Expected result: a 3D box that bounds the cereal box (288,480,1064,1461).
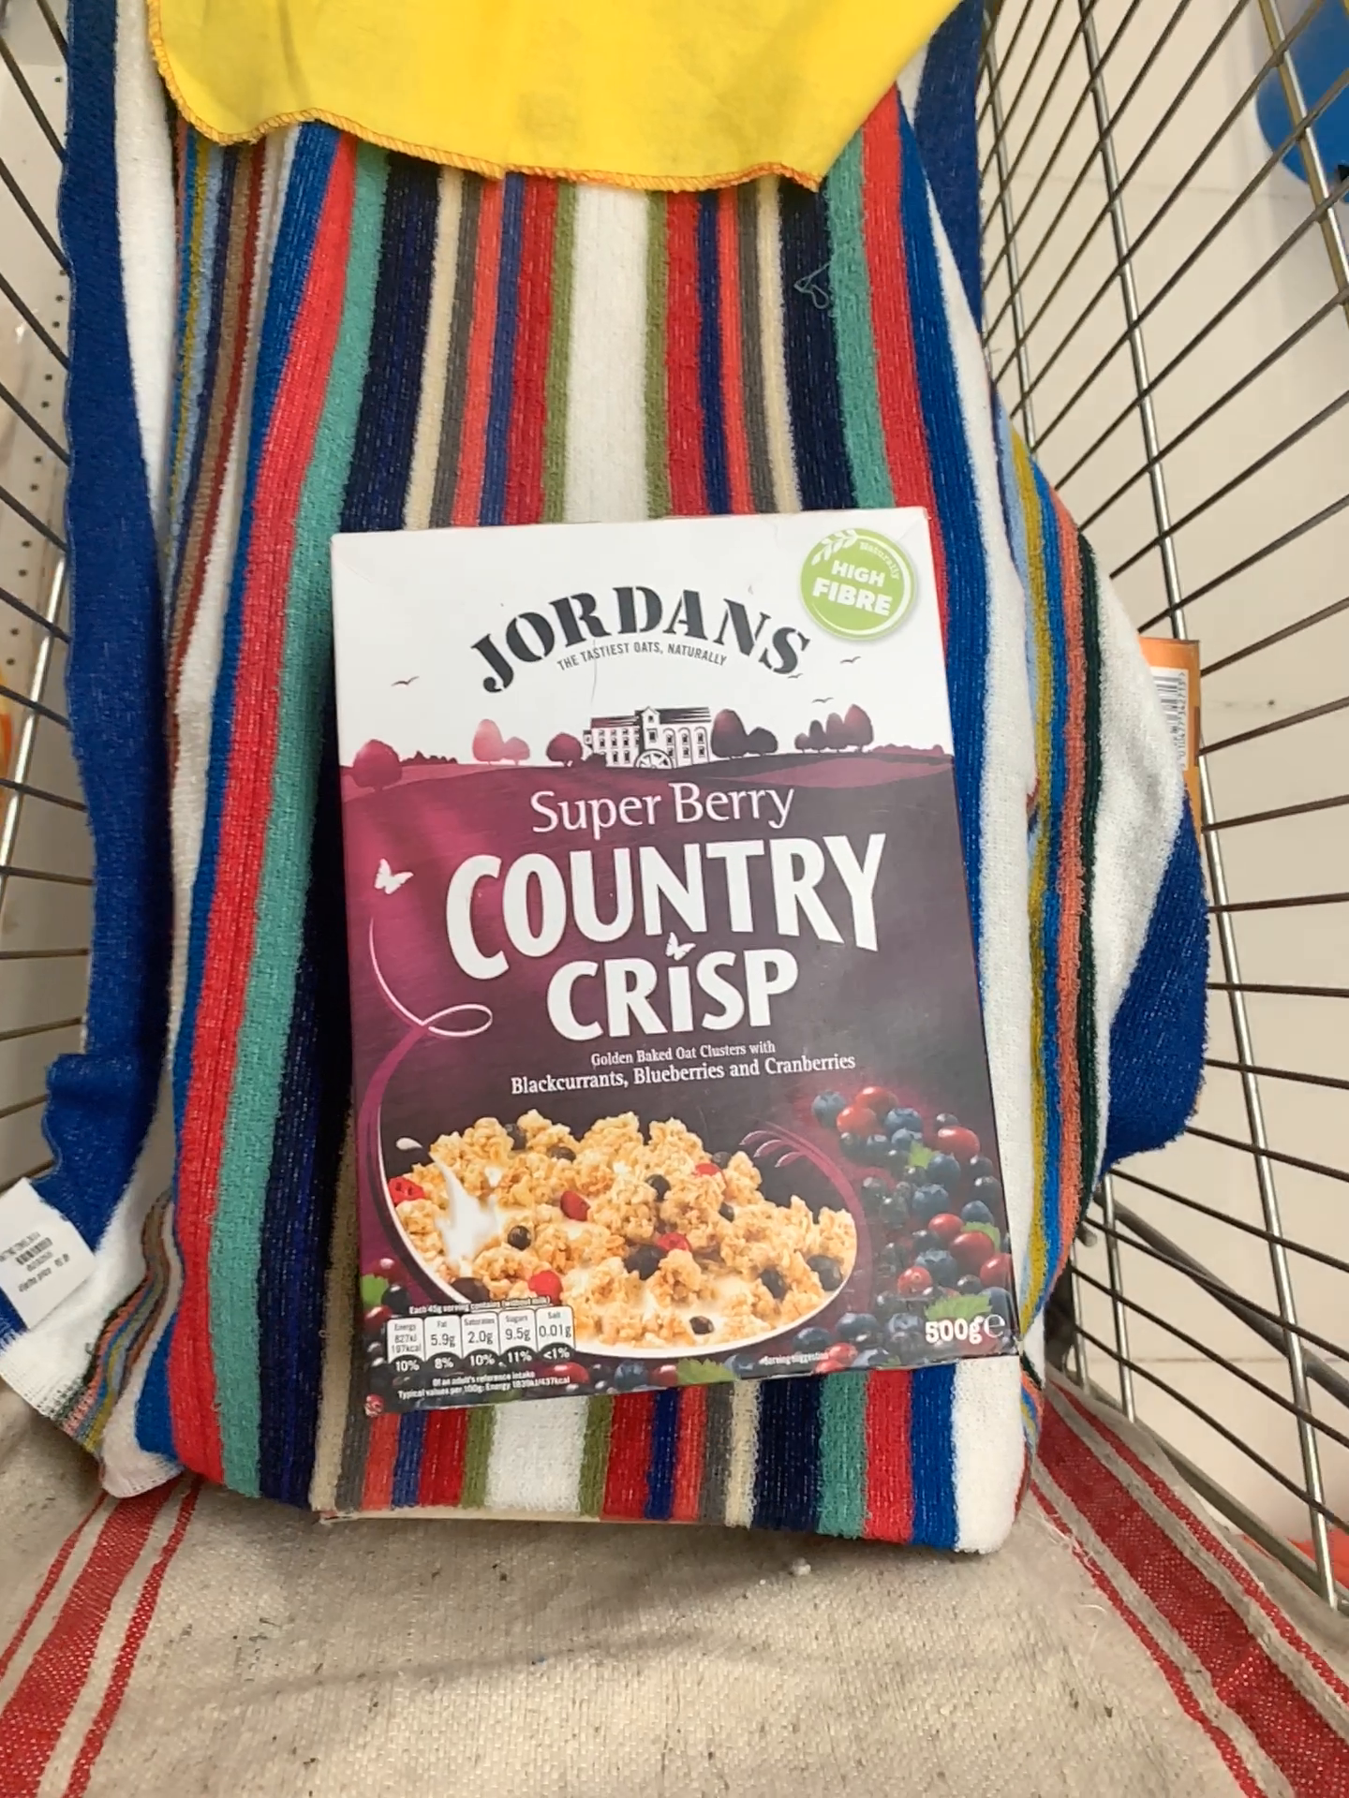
[{"bbox_3d":[-0.006,0.015,0.384,0.180,0.060,0.240,-4,80,-3],"label":"cereal box"}]
